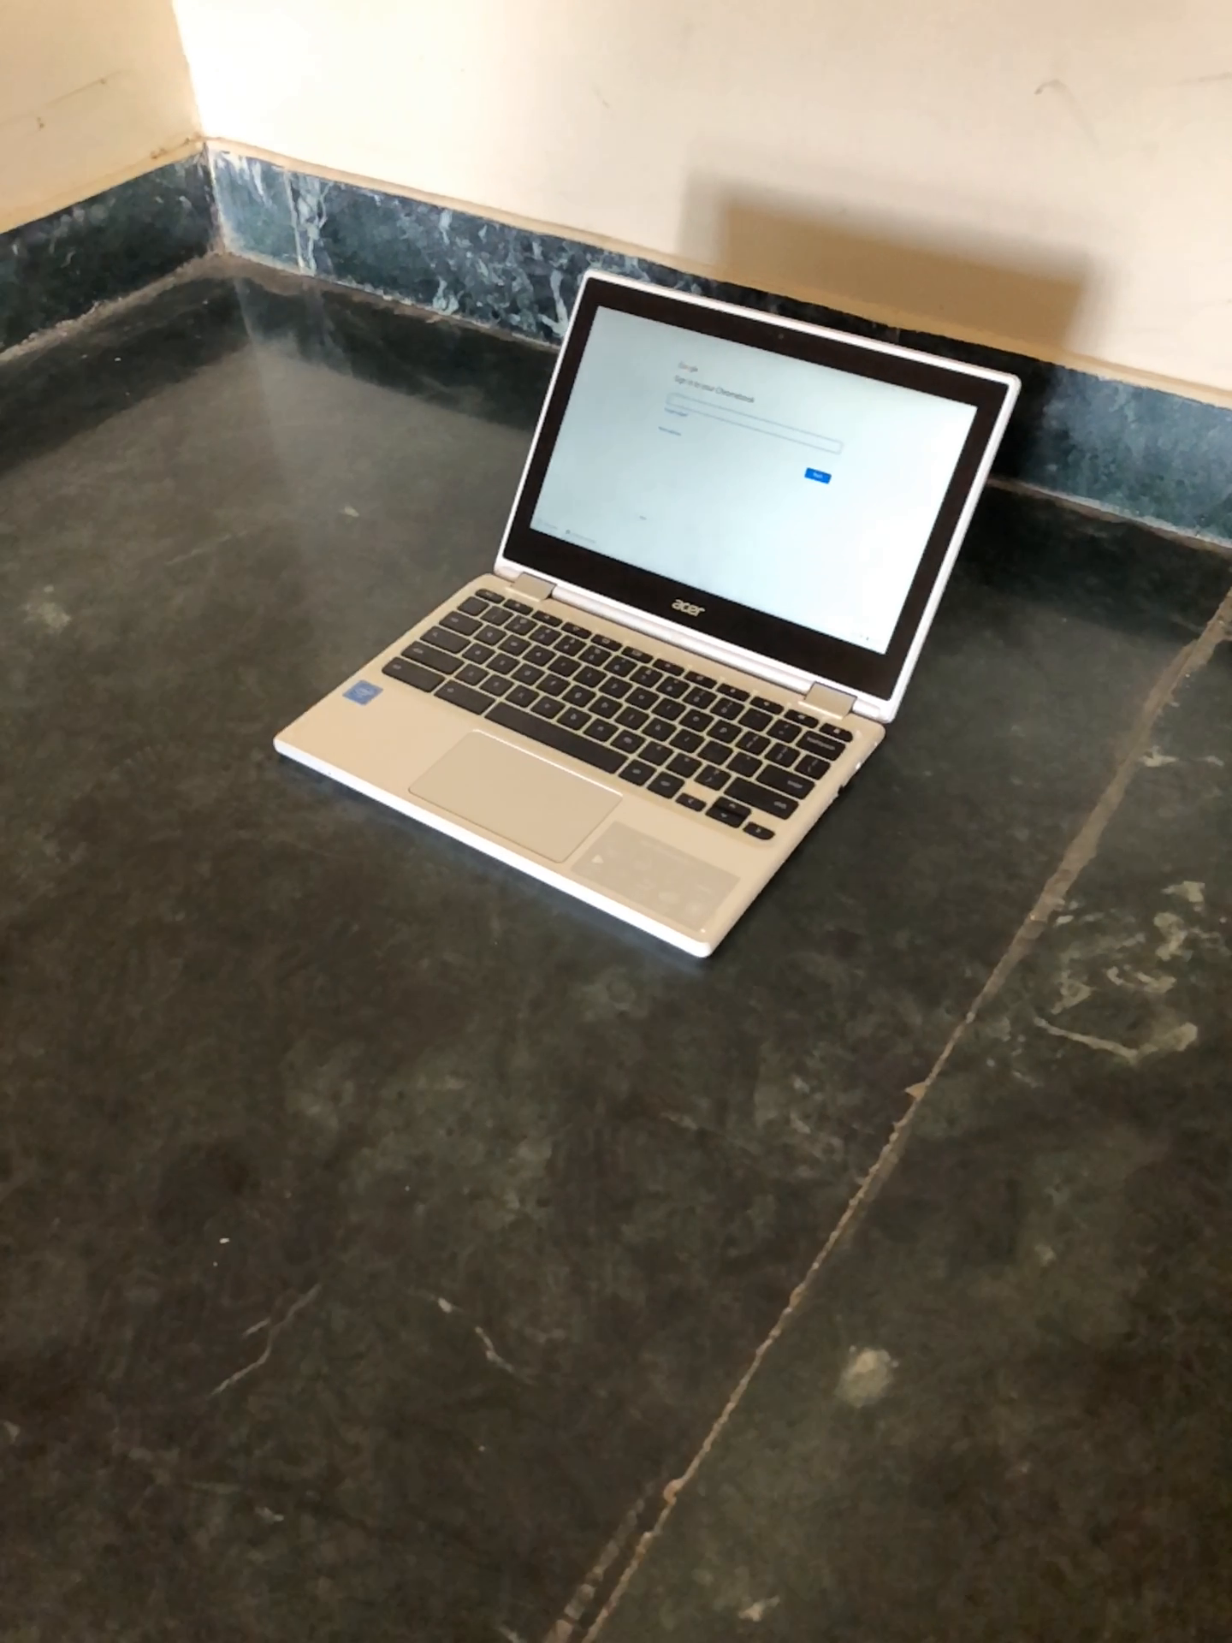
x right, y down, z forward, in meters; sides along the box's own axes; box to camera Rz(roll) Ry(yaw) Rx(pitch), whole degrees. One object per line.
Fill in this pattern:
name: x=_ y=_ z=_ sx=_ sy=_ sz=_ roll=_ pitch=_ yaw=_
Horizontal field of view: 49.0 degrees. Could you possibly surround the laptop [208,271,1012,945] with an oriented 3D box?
laptop: x=0.011 y=-0.141 z=0.741 sx=0.281 sy=0.156 sz=0.315 roll=24 pitch=50 yaw=24
